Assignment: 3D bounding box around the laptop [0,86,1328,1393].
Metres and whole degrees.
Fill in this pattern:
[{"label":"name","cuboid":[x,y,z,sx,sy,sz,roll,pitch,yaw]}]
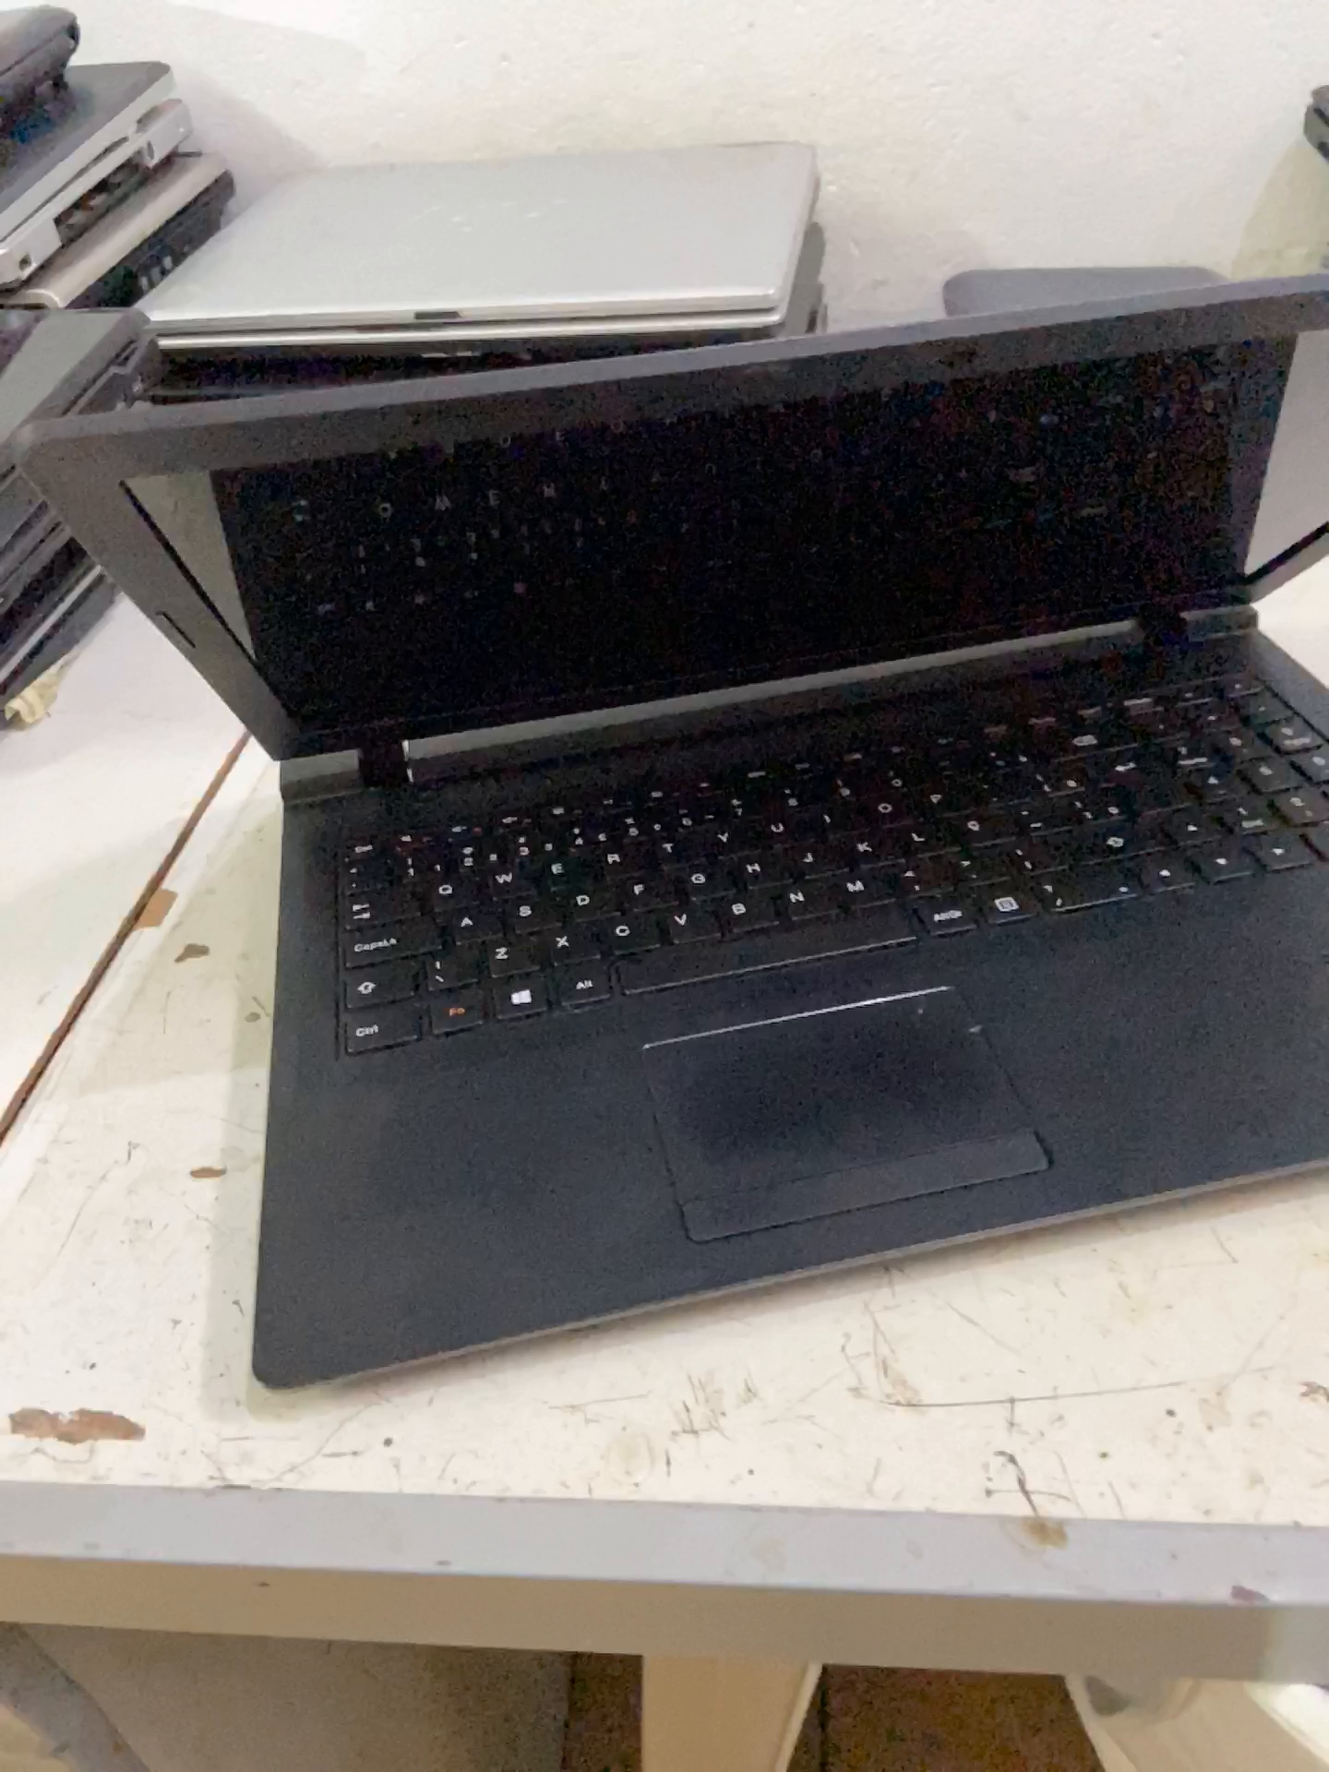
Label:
[{"label":"laptop","cuboid":[0.060,-0.071,0.372,0.376,0.189,0.259,-11,38,-6]}]
